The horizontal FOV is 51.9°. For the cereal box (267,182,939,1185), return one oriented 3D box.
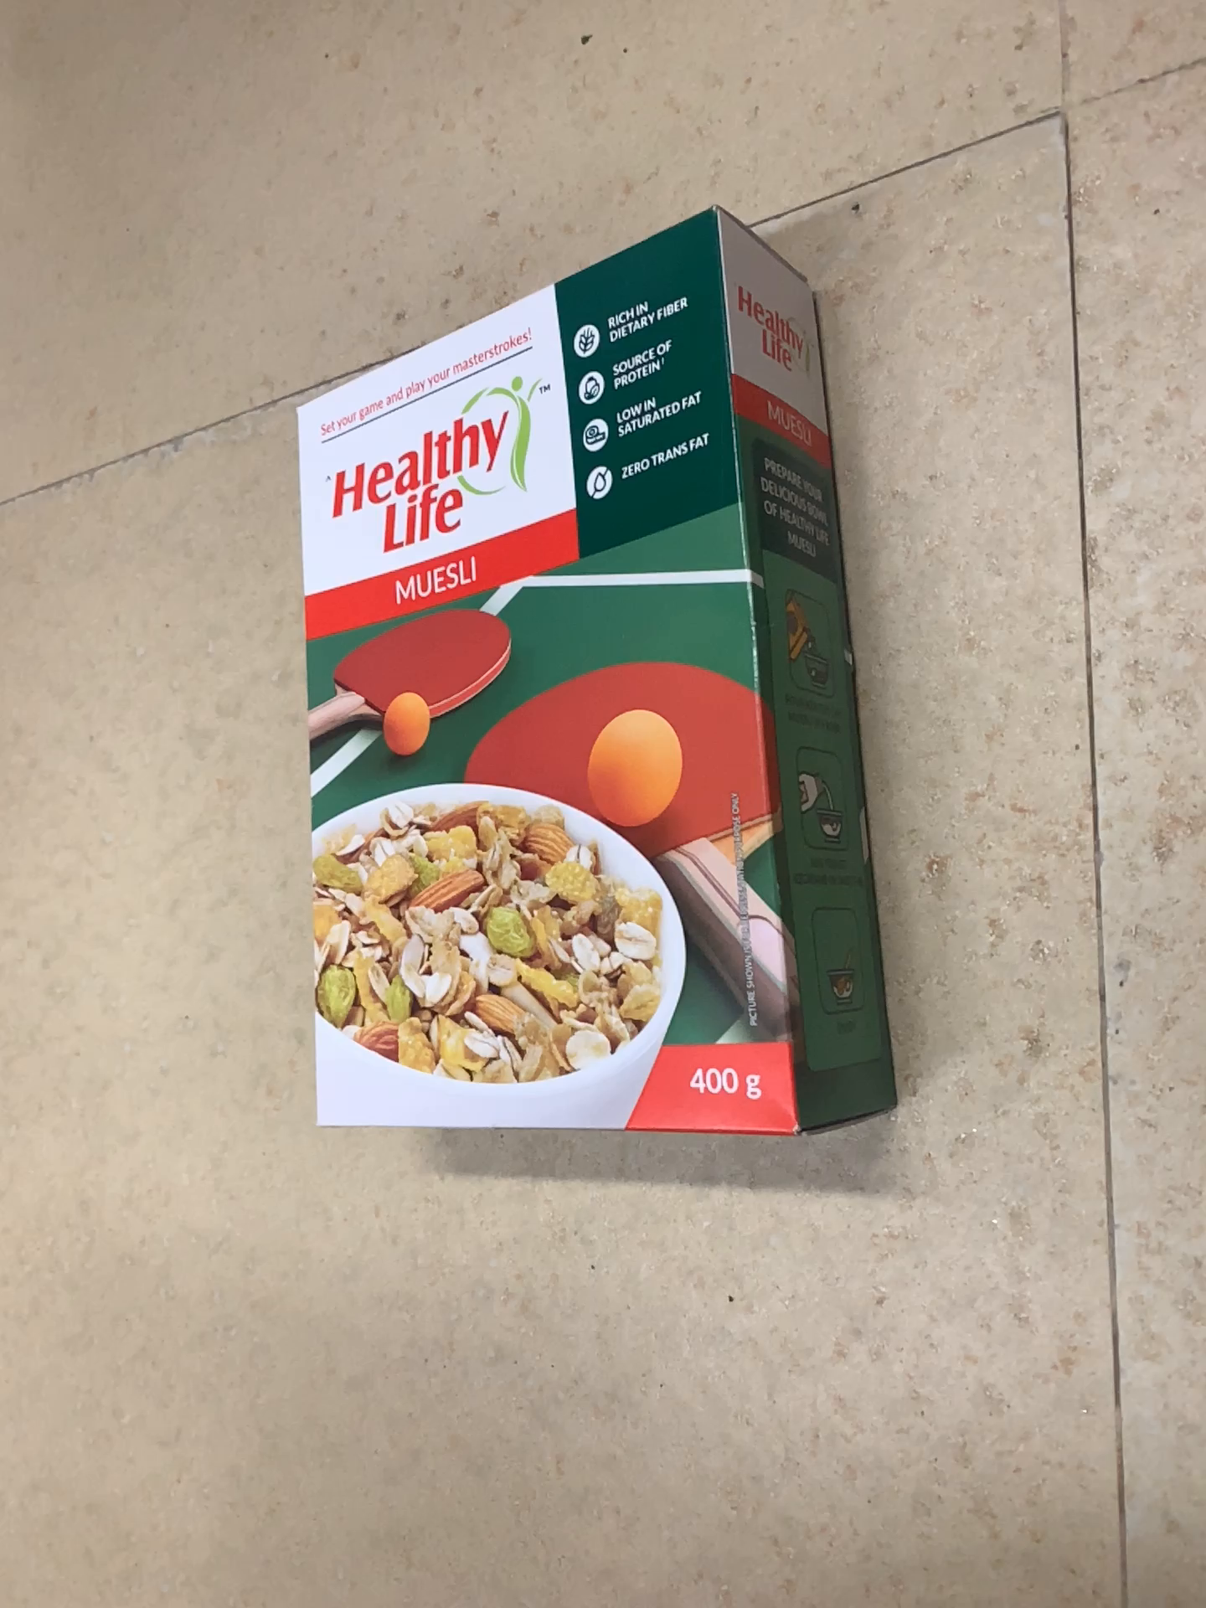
[{"bbox_3d":[-0.008,-0.019,0.354,0.161,0.080,0.230,-9,80,34],"label":"cereal box"}]
